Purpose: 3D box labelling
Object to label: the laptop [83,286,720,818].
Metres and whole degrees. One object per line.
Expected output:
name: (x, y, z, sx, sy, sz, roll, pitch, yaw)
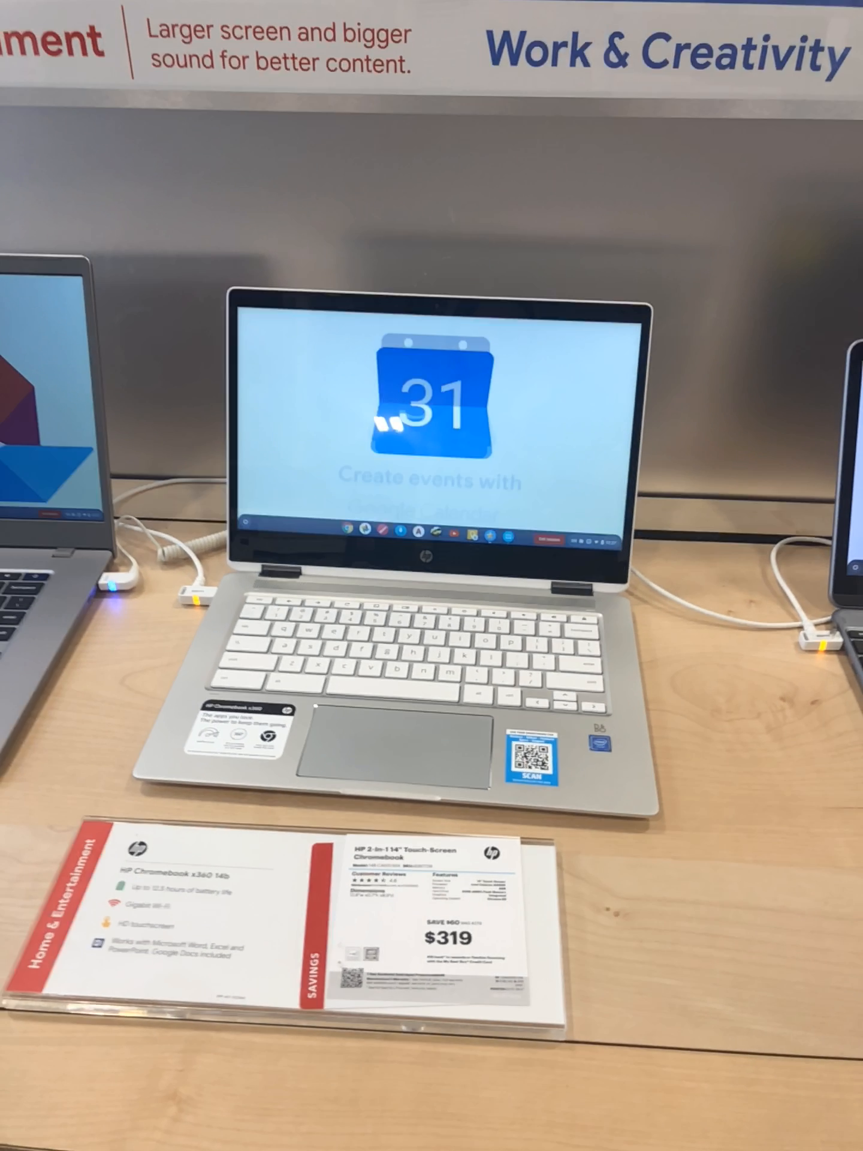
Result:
laptop: (-0.007, -0.038, 0.666, 0.323, 0.205, 0.320, 3, 36, 3)
